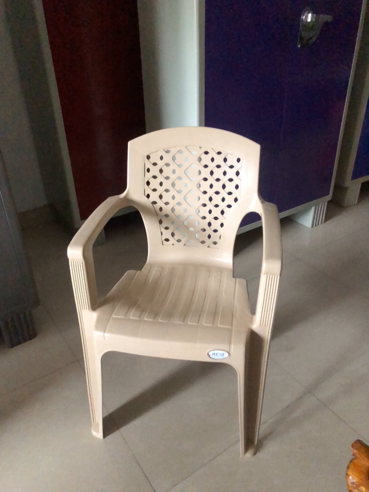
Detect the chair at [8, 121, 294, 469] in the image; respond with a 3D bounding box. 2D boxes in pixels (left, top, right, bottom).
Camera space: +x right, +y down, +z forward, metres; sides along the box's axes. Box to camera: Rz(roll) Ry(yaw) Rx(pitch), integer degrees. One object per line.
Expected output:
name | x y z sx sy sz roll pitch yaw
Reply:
chair | -0.016 0.111 1.183 0.540 0.796 0.563 3 31 9
